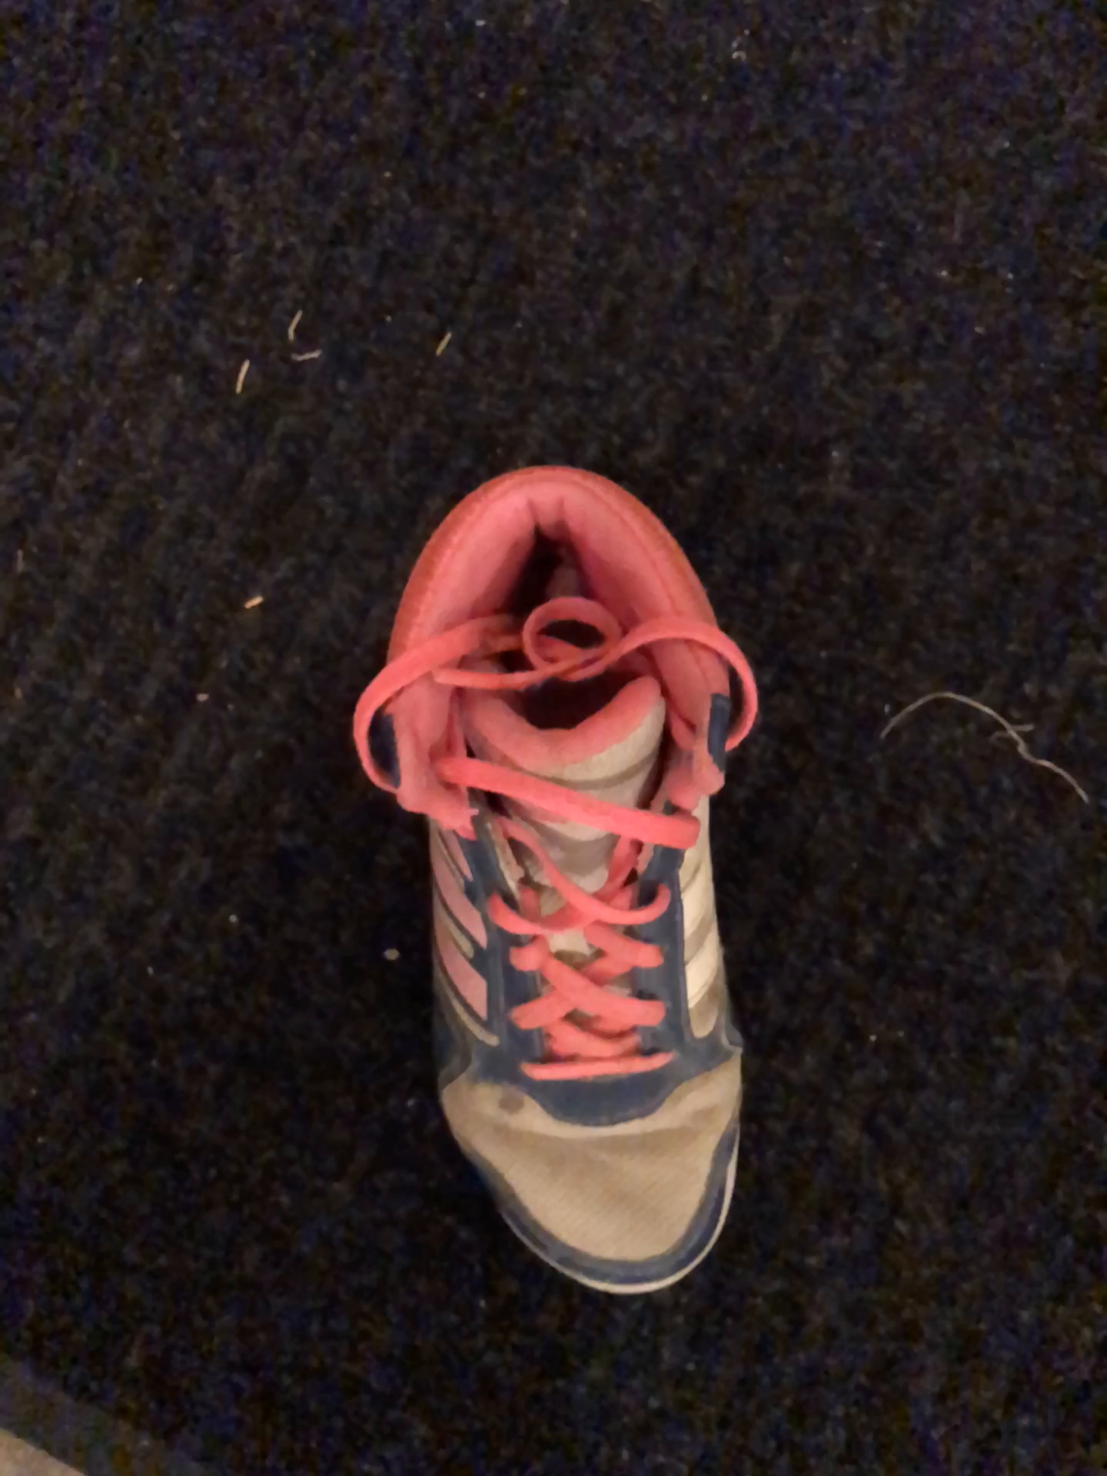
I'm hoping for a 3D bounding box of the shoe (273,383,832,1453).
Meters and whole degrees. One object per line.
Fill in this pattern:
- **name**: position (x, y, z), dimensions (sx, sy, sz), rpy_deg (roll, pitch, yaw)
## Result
- **shoe**: position (0.000, 0.036, 0.293), dimensions (0.090, 0.100, 0.200), rpy_deg (-6, 87, 2)
